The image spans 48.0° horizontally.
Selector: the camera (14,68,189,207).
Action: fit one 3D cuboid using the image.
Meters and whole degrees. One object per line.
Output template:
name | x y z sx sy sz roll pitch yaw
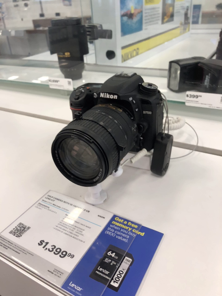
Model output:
camera | 0.003 -0.034 0.338 0.160 0.100 0.171 10 33 24
